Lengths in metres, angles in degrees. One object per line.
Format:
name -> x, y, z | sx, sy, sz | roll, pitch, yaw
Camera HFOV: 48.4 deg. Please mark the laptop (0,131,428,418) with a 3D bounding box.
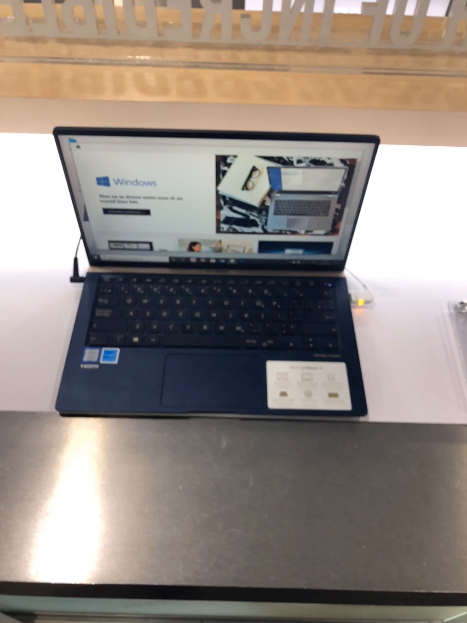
laptop -> -0.017, -0.030, 0.487 | 0.301, 0.182, 0.191 | 1, 52, -2
